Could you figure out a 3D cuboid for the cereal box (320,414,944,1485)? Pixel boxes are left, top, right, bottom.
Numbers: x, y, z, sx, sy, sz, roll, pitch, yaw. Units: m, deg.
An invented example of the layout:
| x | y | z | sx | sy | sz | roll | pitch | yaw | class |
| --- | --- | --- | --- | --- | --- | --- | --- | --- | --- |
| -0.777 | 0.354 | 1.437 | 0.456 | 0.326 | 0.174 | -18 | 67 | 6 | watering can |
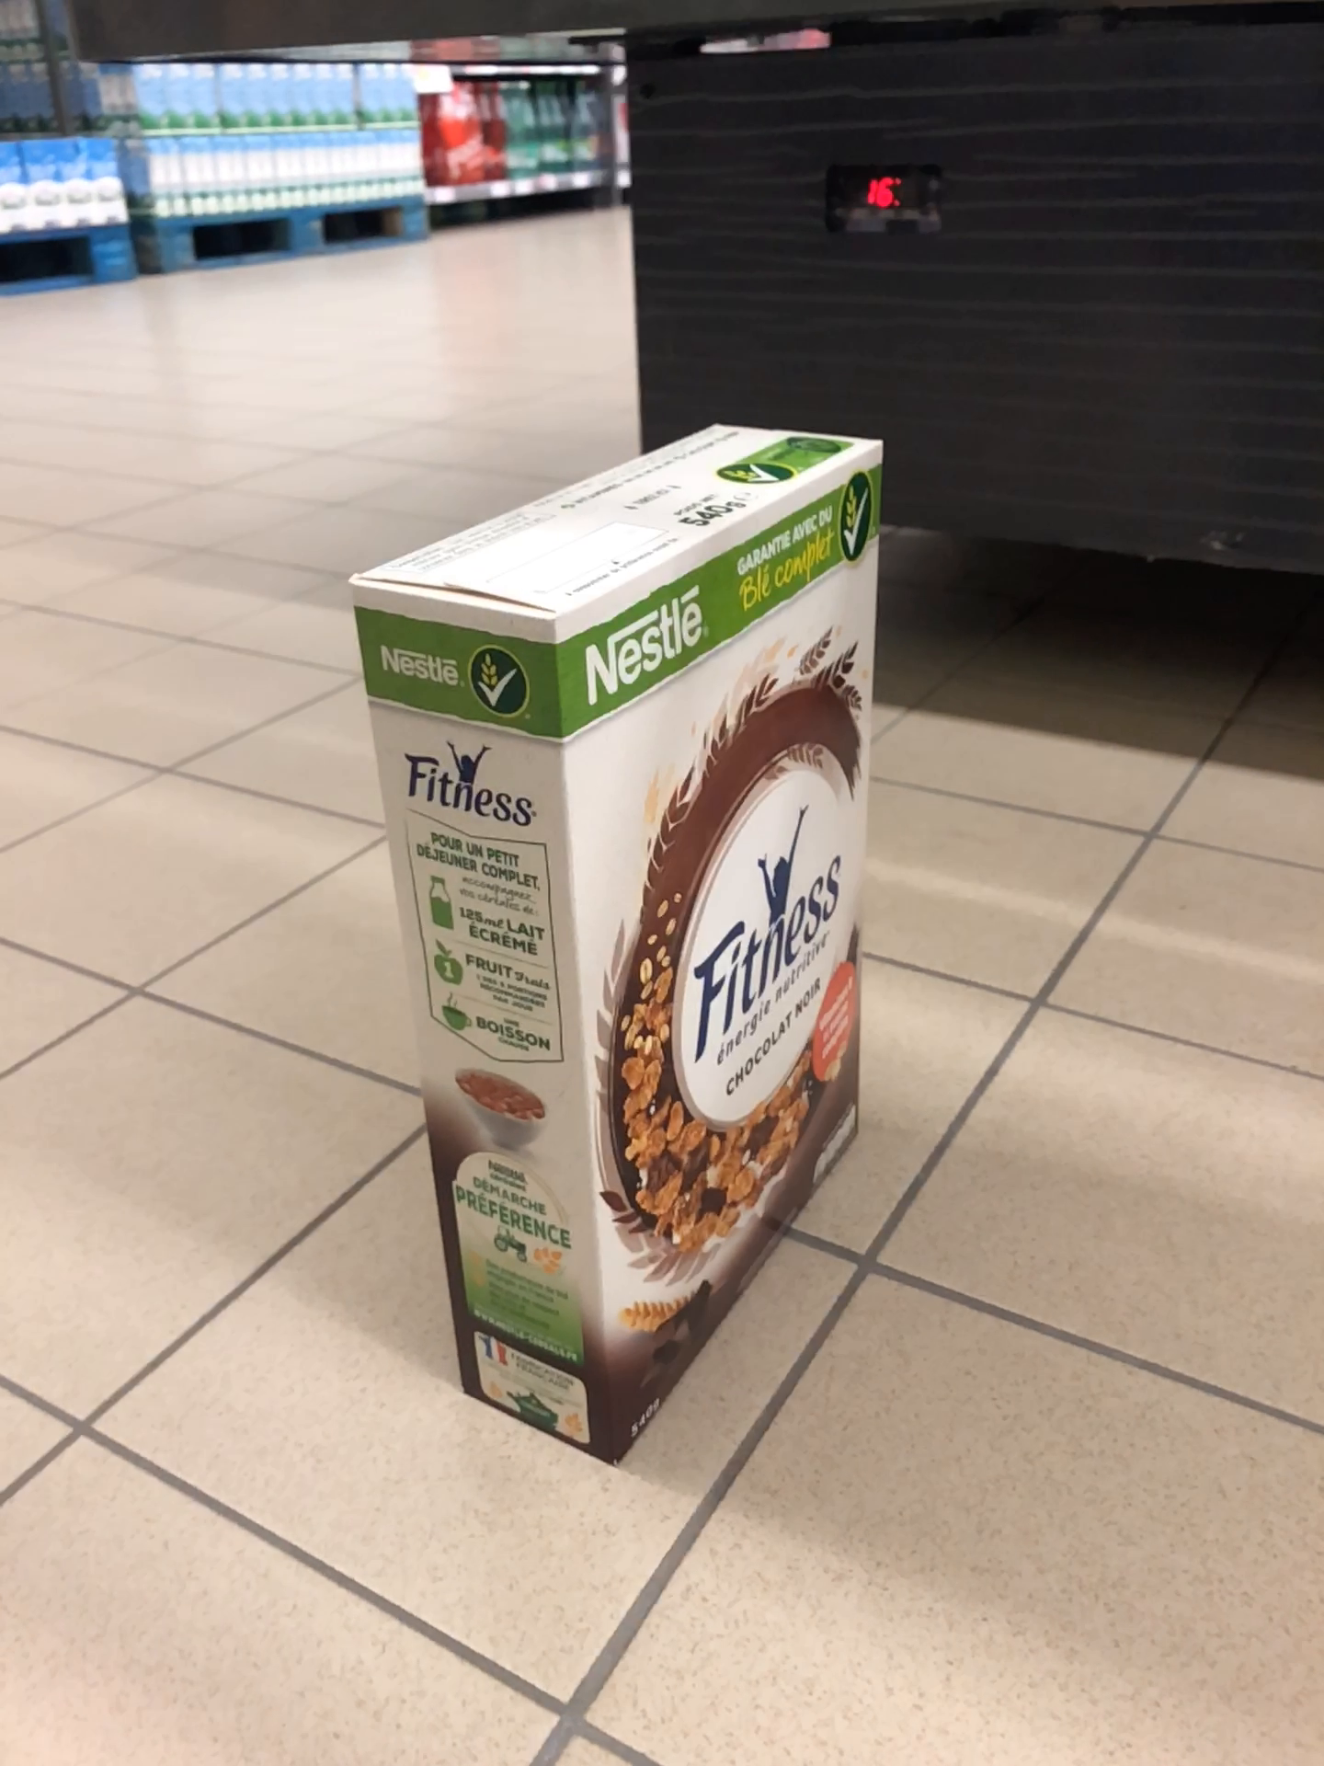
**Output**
| x | y | z | sx | sy | sz | roll | pitch | yaw | class |
| --- | --- | --- | --- | --- | --- | --- | --- | --- | --- |
| 0.010 | 0.011 | 0.487 | 0.080 | 0.278 | 0.211 | 14 | 33 | 28 | cereal box |
